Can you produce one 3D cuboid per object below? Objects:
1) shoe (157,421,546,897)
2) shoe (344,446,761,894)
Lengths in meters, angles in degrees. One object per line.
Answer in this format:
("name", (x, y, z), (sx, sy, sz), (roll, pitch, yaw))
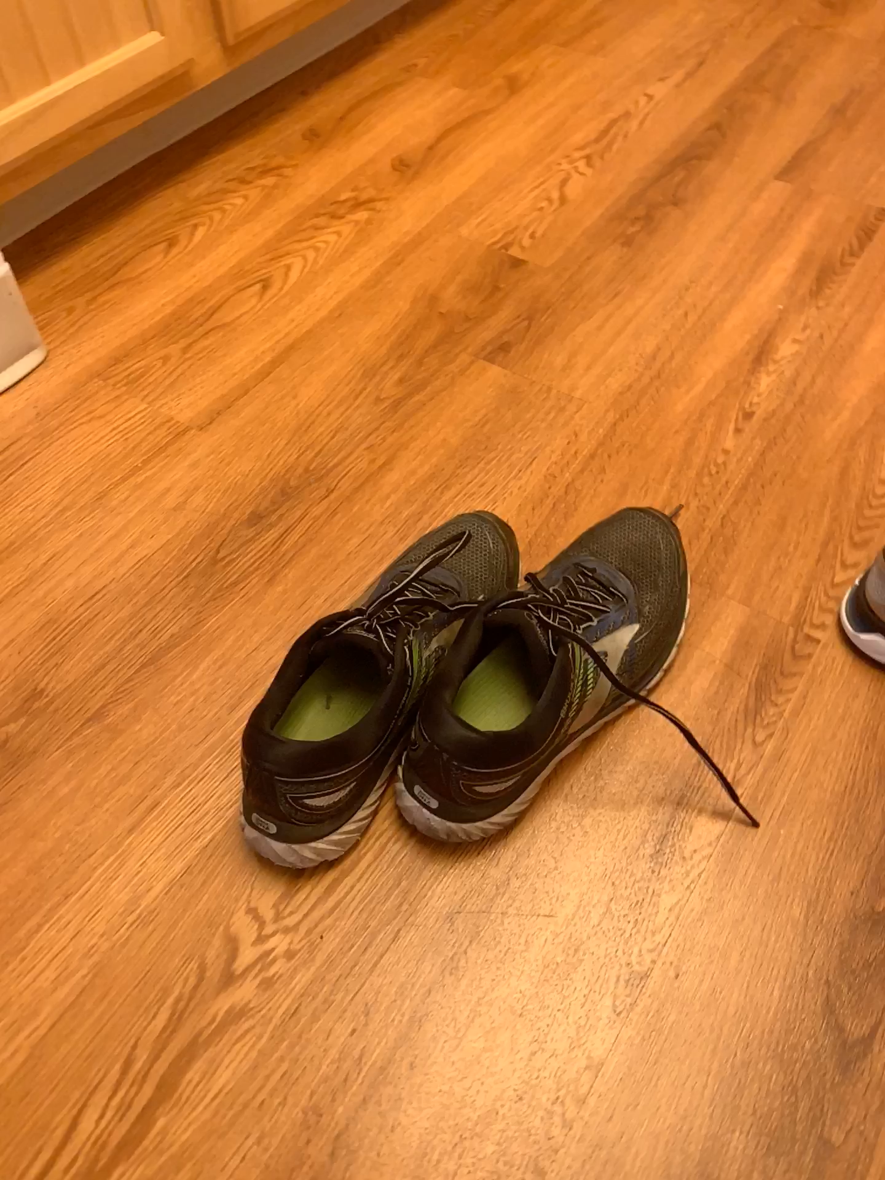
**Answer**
("shoe", (-0.044, 0.036, 0.640), (0.100, 0.119, 0.311), (24, 57, 19))
("shoe", (0.084, 0.047, 0.644), (0.100, 0.119, 0.310), (36, 62, 26))
